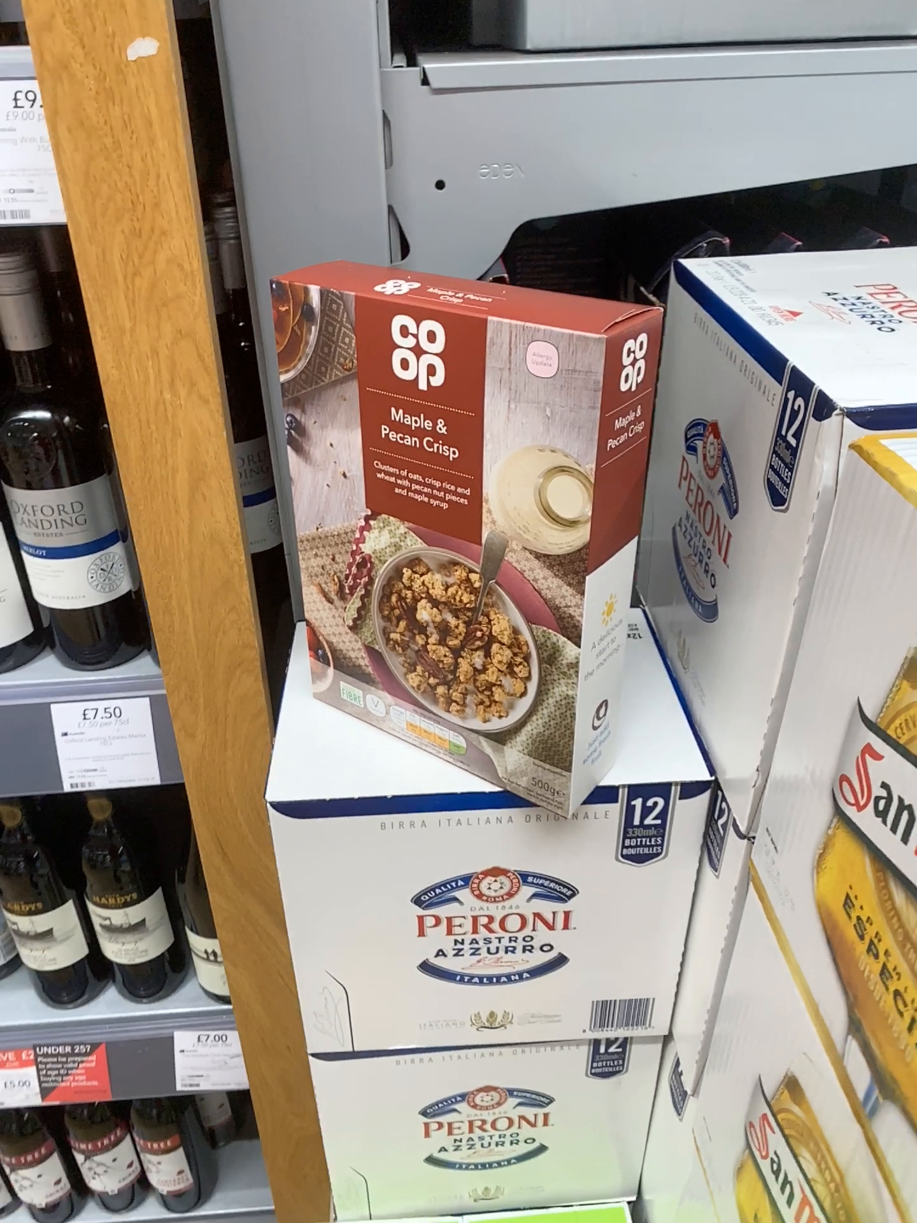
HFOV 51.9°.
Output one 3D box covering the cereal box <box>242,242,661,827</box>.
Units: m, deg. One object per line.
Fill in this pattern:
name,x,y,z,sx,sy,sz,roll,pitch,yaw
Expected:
cereal box,-0.008,-0.039,0.471,0.181,0.248,0.060,20,36,30
